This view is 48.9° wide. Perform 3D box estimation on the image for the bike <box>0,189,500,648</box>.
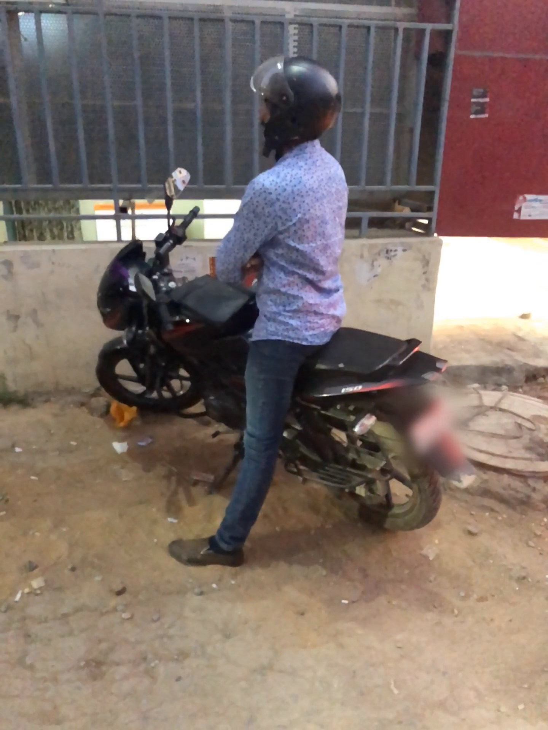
[{"bbox_3d":[-0.229,0.000,2.387,1.803,1.145,0.749,17,25,33],"label":"bike"}]
